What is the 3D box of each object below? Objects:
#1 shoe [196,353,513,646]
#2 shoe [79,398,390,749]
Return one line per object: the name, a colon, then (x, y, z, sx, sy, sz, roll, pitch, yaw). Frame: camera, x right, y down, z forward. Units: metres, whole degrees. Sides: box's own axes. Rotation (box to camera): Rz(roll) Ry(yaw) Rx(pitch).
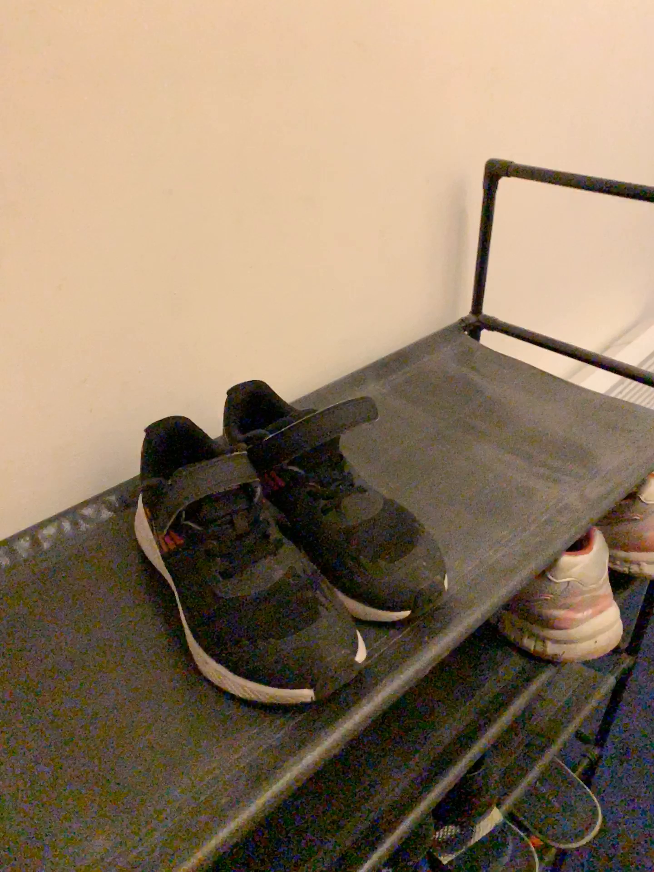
shoe: (0.009, 0.027, 0.444, 0.090, 0.079, 0.201, -25, 39, -31)
shoe: (-0.062, 0.064, 0.404, 0.090, 0.079, 0.201, -23, 38, -29)
